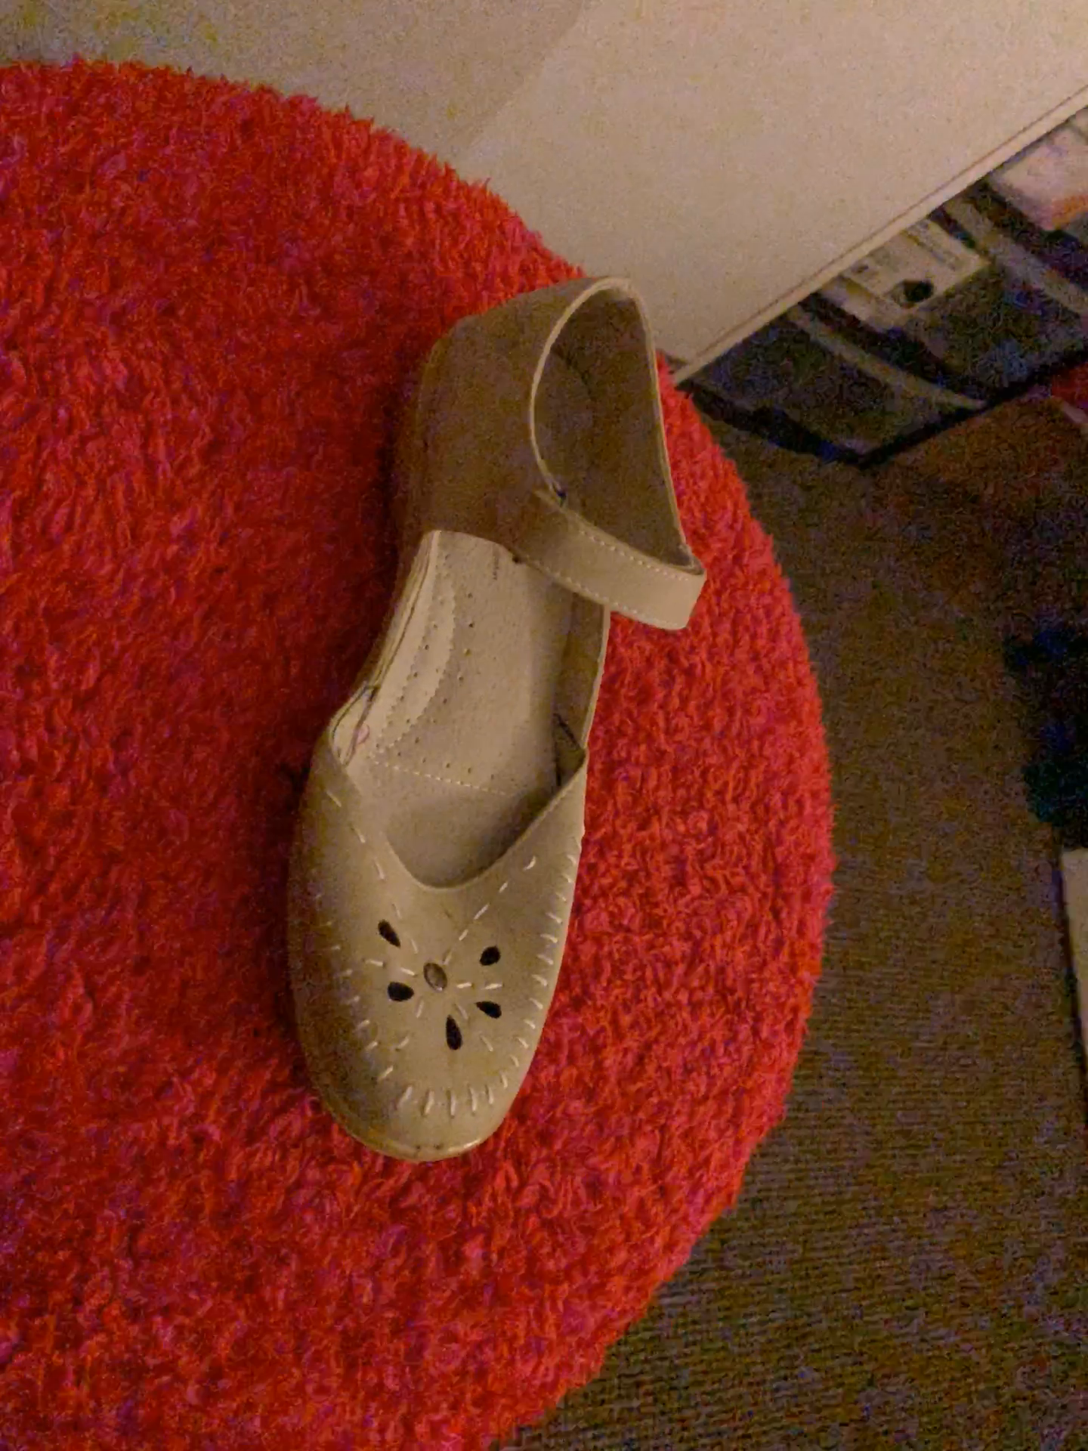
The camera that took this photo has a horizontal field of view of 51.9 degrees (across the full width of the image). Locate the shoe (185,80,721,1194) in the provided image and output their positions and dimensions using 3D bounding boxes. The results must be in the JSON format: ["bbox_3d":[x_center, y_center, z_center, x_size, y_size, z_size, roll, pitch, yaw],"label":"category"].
[{"bbox_3d":[-0.015,-0.031,0.337,0.095,0.080,0.307,20,64,-31],"label":"shoe"}]
